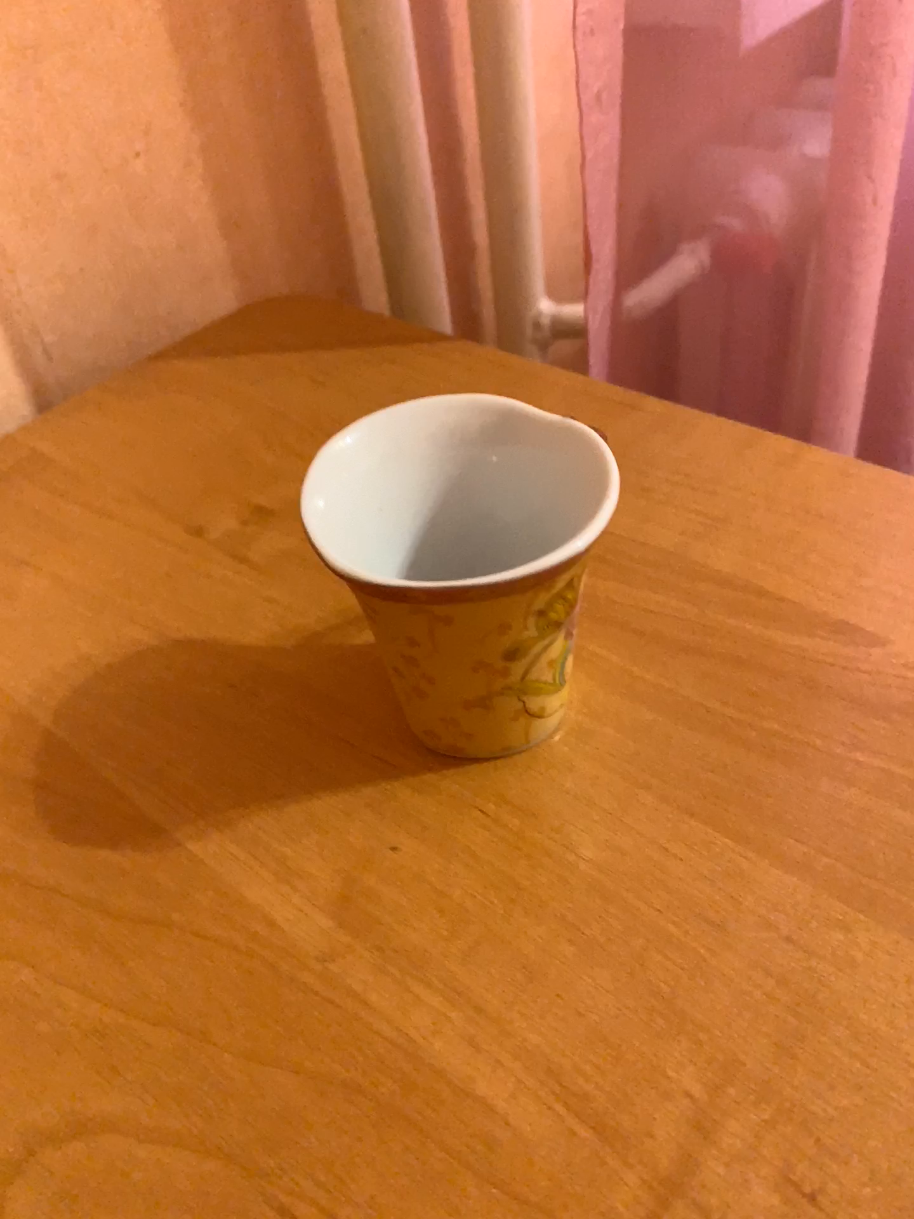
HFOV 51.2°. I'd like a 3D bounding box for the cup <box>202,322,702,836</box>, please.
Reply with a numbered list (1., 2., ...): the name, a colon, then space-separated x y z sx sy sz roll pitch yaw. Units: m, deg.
1. cup: 0.006 -0.014 0.224 0.072 0.061 0.095 15 47 25
